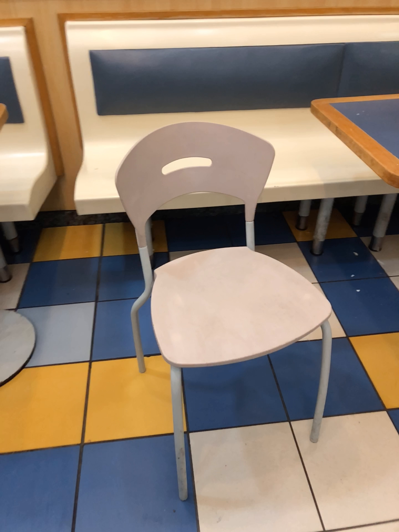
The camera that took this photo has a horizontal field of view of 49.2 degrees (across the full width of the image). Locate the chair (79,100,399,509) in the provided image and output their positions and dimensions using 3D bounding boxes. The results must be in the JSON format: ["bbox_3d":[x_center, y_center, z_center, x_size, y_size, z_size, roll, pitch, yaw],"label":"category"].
[{"bbox_3d":[0.040,0.093,1.072,0.451,0.794,0.473,-14,39,-17],"label":"chair"}]
